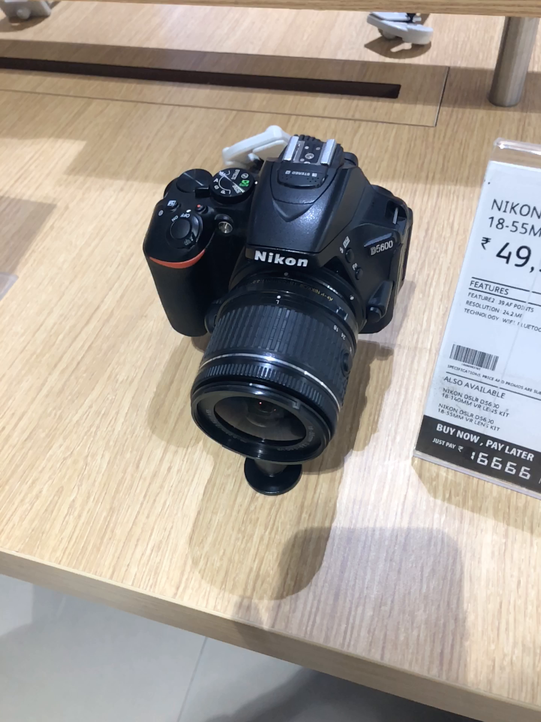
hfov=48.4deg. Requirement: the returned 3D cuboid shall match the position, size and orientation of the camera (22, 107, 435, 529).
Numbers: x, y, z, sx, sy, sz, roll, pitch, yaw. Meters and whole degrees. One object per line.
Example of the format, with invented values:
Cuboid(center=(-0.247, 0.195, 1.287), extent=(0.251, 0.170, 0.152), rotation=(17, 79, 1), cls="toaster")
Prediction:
Cuboid(center=(-0.002, -0.028, 0.290), extent=(0.130, 0.099, 0.161), rotation=(10, 54, 13), cls="camera")
